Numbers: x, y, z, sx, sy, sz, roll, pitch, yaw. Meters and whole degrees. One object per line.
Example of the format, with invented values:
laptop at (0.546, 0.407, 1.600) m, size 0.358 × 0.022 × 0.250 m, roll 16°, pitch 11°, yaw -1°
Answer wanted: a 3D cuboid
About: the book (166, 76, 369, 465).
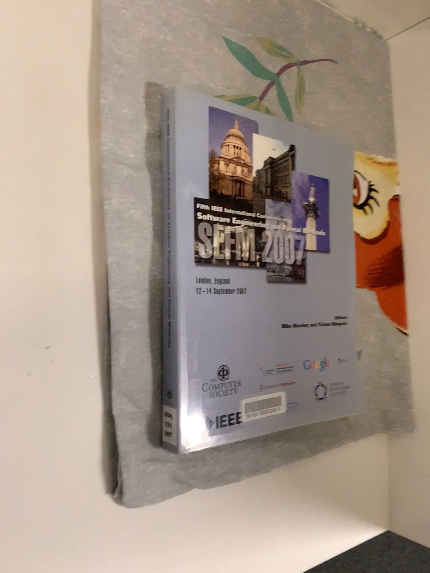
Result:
book at (0.056, -0.012, 0.386) m, size 0.211 × 0.030 × 0.274 m, roll 2°, pitch 86°, yaw -37°
